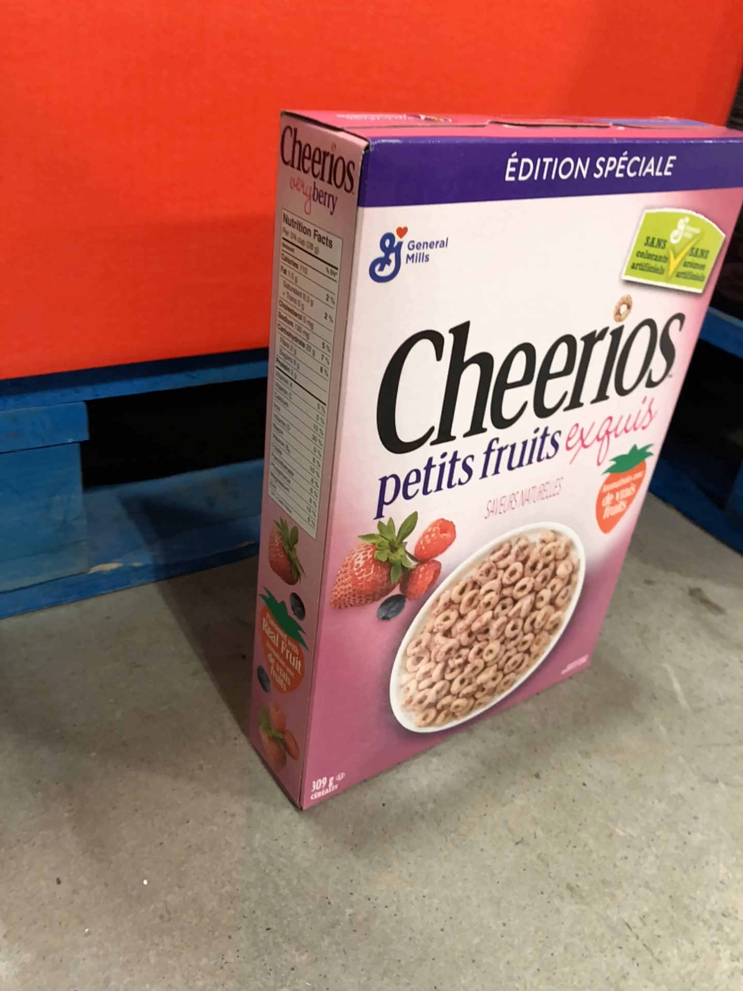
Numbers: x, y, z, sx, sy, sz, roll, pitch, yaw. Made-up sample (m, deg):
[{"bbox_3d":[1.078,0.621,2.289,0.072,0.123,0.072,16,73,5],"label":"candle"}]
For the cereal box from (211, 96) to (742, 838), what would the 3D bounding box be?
[{"bbox_3d":[0.047,-0.011,0.358,0.220,0.279,0.060,-15,39,-32],"label":"cereal box"}]
